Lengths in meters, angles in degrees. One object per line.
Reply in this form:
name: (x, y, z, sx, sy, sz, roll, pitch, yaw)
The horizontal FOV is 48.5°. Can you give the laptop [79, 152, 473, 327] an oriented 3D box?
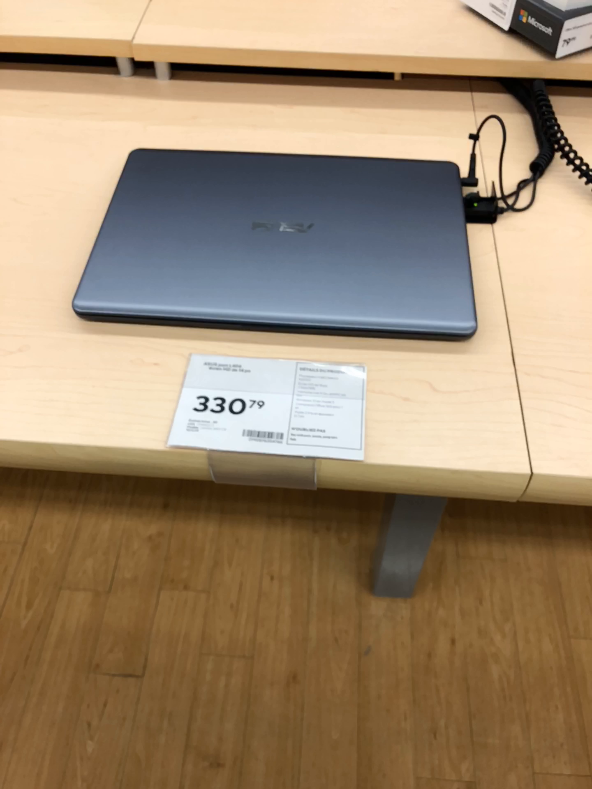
laptop: (-0.012, -0.148, 0.590, 0.318, 0.001, 0.211, 3, 54, 3)
